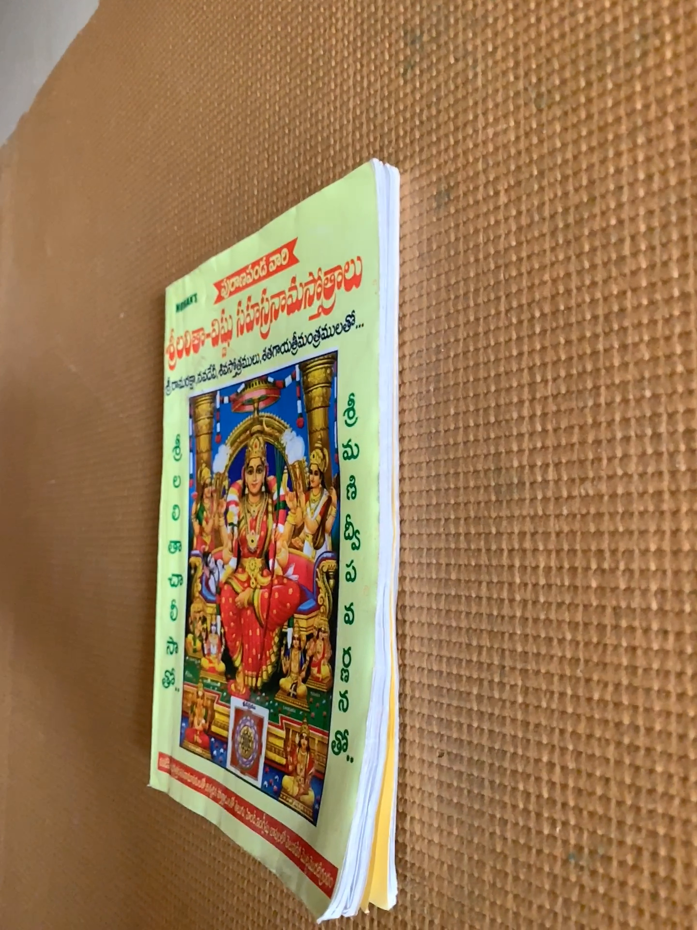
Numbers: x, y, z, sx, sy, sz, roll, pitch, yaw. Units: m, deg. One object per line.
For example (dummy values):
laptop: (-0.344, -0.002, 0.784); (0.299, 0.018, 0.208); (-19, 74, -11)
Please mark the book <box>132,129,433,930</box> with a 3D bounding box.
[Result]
book: (-0.030, 0.019, 0.246); (0.141, 0.020, 0.210); (-7, 80, 50)
